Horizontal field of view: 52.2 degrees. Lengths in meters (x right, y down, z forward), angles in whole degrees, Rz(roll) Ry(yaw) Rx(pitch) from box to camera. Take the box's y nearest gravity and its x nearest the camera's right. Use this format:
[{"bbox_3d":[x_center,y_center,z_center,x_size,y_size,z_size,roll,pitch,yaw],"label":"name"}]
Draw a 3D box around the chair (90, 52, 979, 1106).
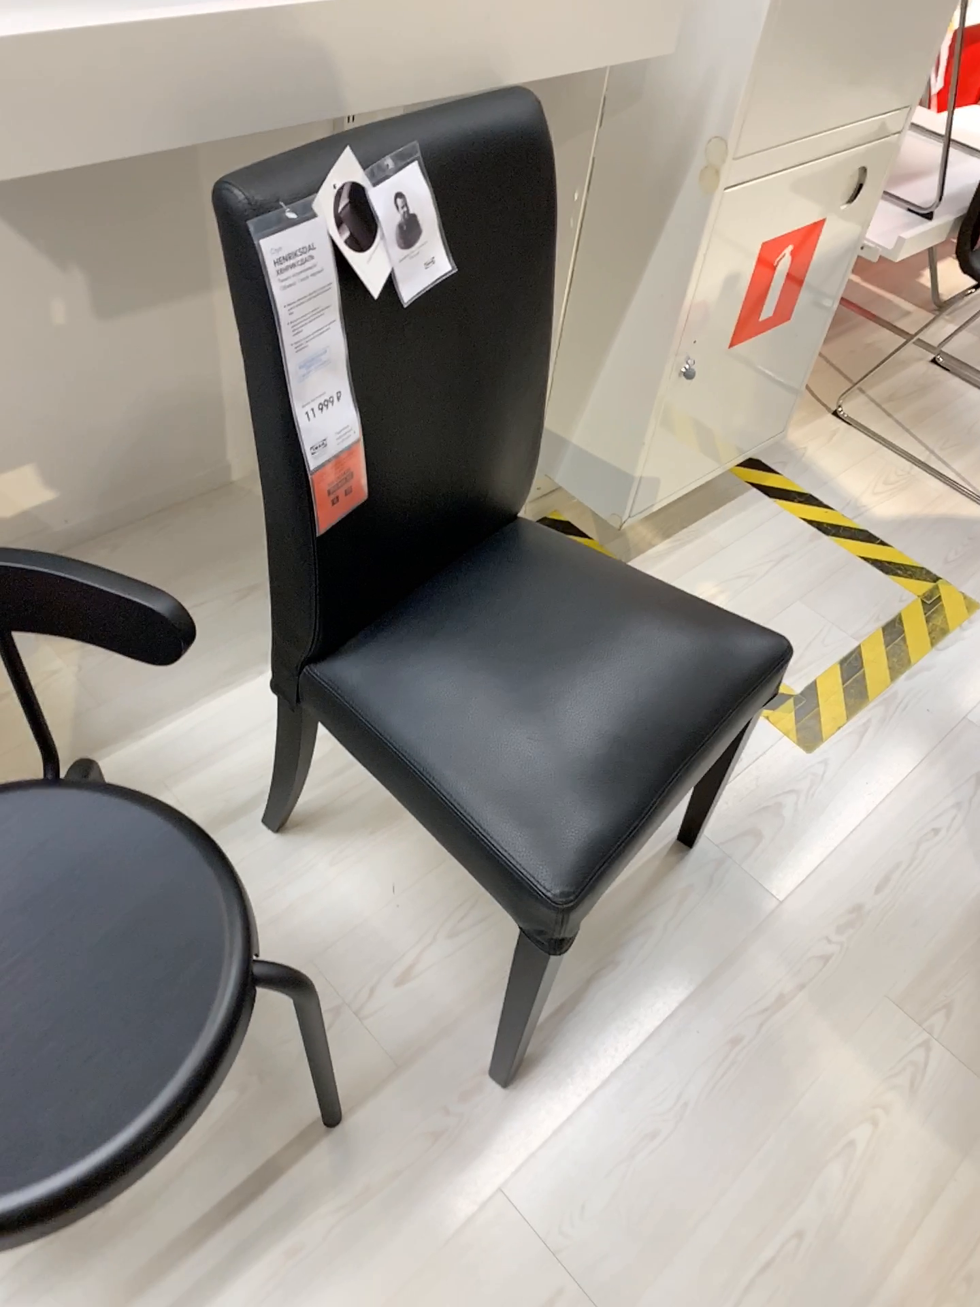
[{"bbox_3d":[0.030,-0.053,1.223,0.601,0.975,0.583,33,50,20],"label":"chair"}]
